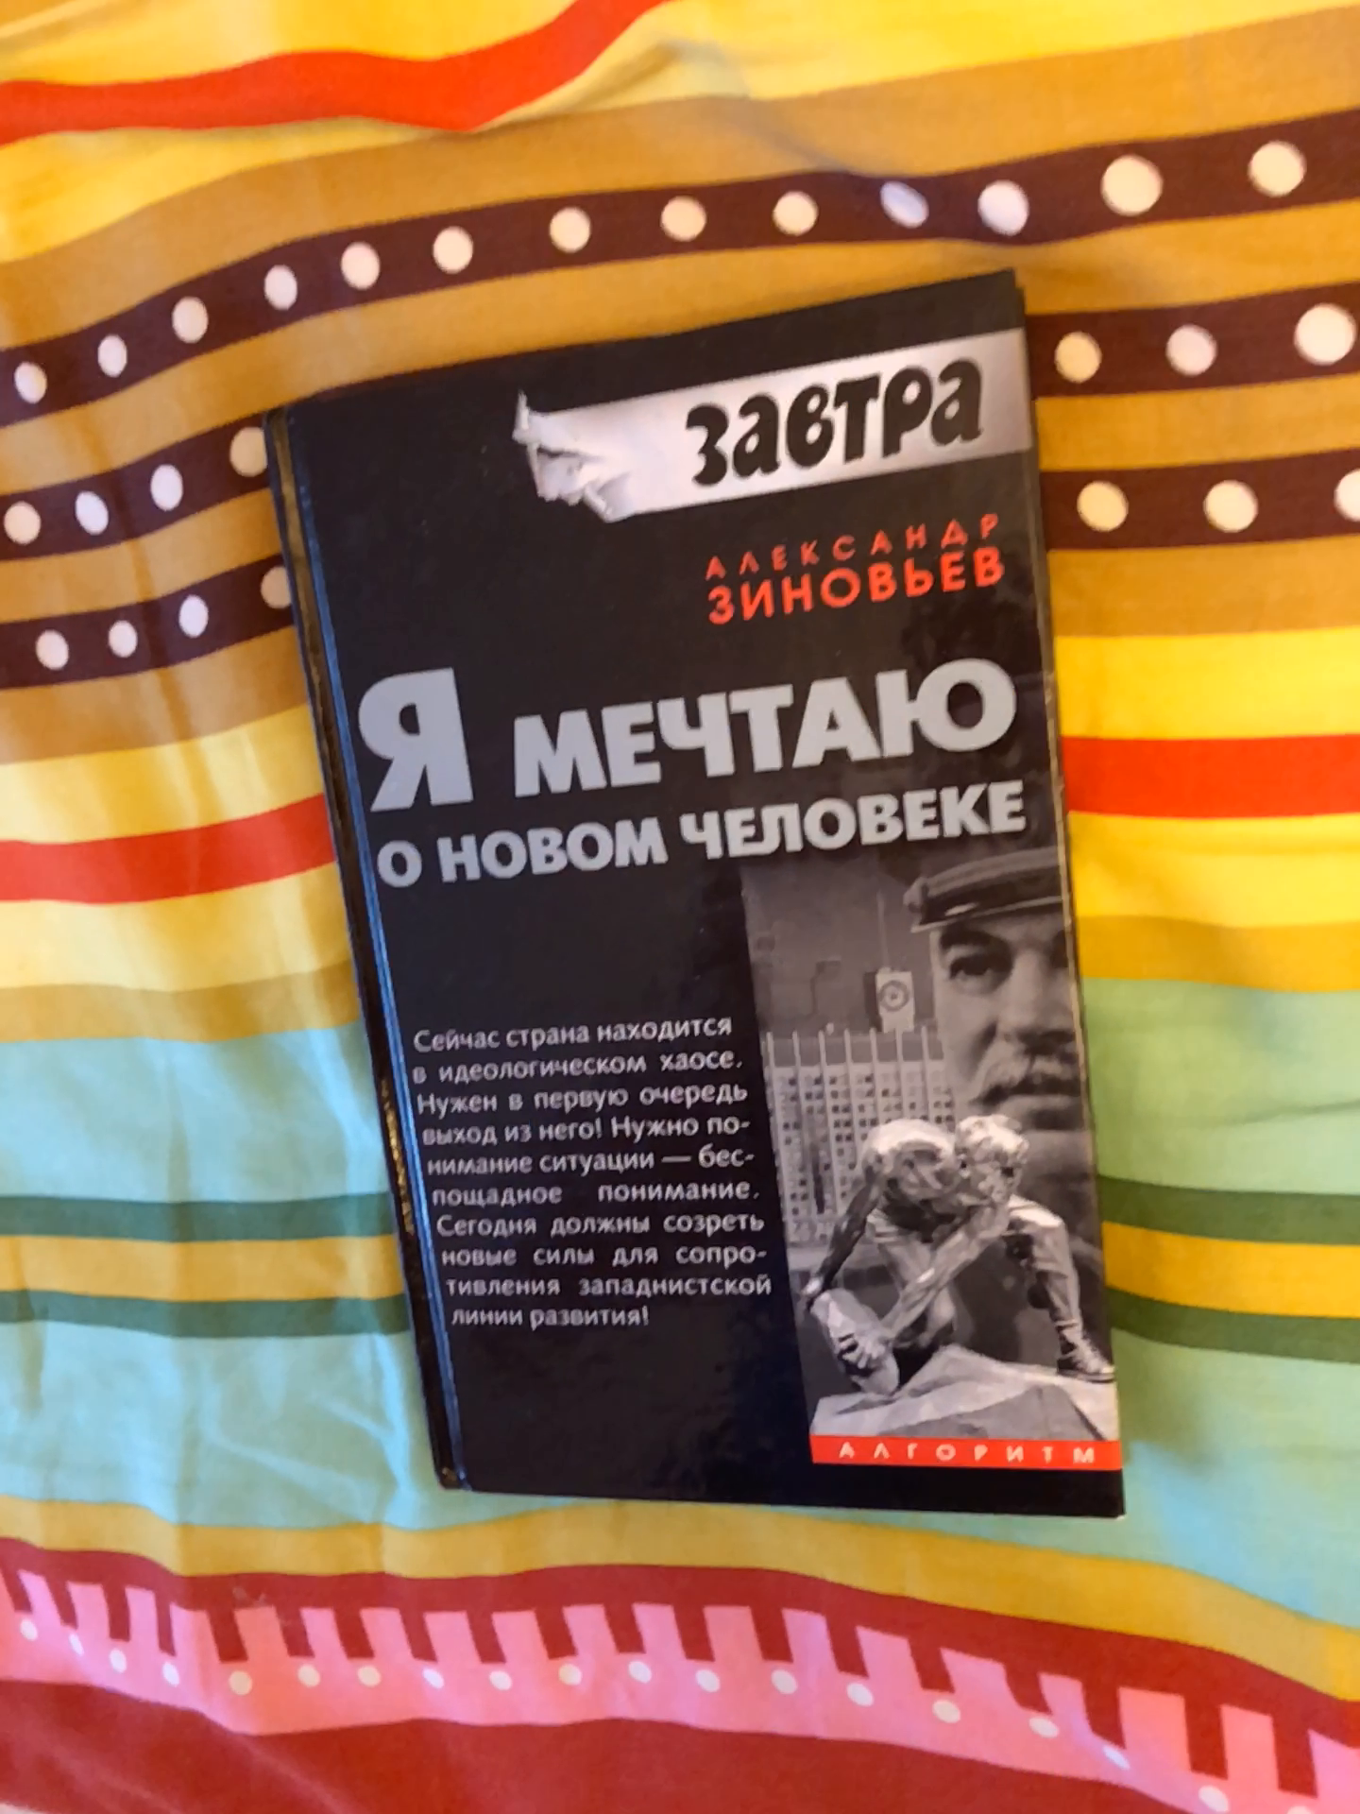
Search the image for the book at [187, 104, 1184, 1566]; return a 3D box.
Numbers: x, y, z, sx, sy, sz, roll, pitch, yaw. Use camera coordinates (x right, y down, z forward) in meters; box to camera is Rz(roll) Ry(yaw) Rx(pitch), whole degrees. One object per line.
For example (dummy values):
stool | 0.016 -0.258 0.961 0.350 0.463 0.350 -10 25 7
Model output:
book | 0.005 0.001 0.257 0.140 0.030 0.220 -4 102 16
